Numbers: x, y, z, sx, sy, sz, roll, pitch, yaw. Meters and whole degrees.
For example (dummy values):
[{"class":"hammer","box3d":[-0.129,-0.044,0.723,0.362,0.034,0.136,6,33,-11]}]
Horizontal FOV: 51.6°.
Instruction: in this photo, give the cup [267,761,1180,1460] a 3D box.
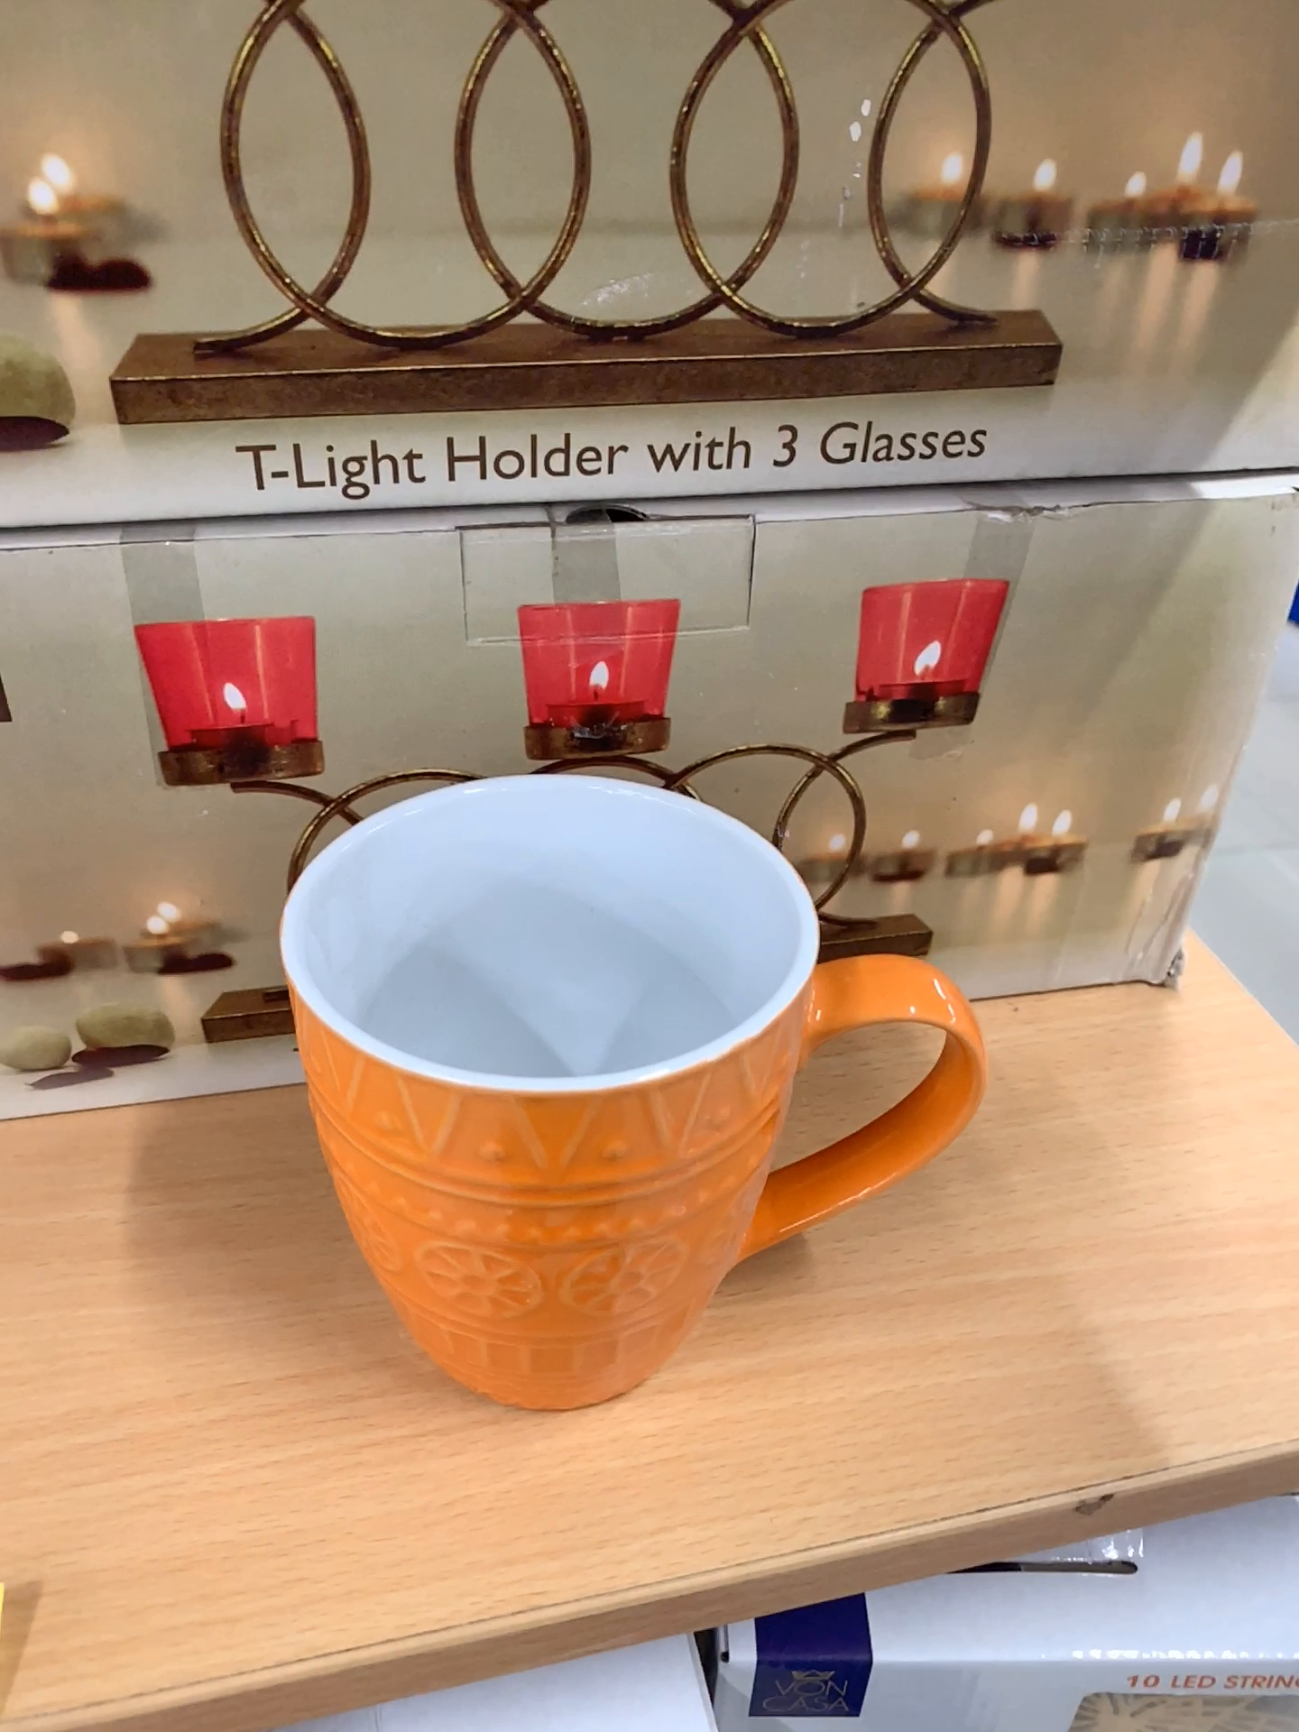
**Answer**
[{"class":"cup","box3d":[0.005,0.037,0.229,0.120,0.080,0.080,-1,33,-7]}]
